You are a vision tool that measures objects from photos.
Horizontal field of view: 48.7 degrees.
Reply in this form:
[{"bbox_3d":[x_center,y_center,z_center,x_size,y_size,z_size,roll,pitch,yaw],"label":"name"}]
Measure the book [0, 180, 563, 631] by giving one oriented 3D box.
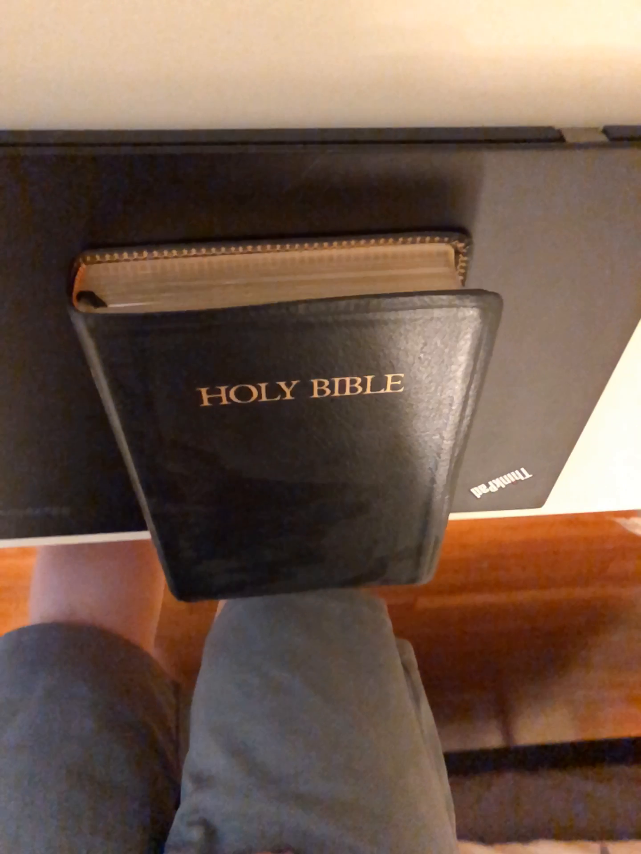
[{"bbox_3d":[-0.012,0.014,0.318,0.170,0.040,0.241,-4,139,-4],"label":"book"}]
